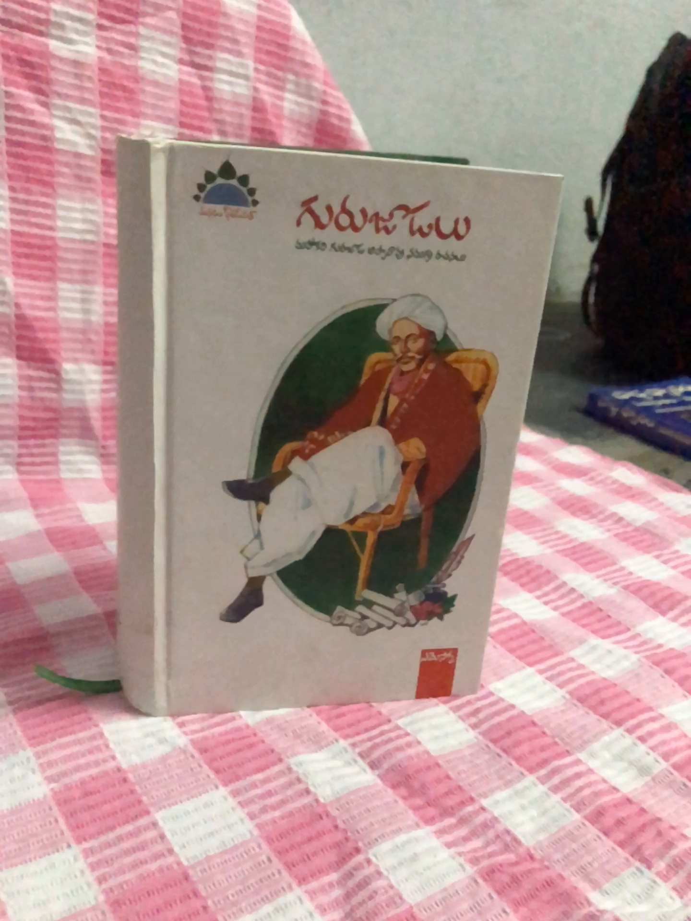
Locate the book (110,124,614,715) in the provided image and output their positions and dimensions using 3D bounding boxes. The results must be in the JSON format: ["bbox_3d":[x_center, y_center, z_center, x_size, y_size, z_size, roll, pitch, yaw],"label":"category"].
[{"bbox_3d":[-0.007,-0.011,0.307,0.160,0.209,0.070,0,24,-14],"label":"book"}]
